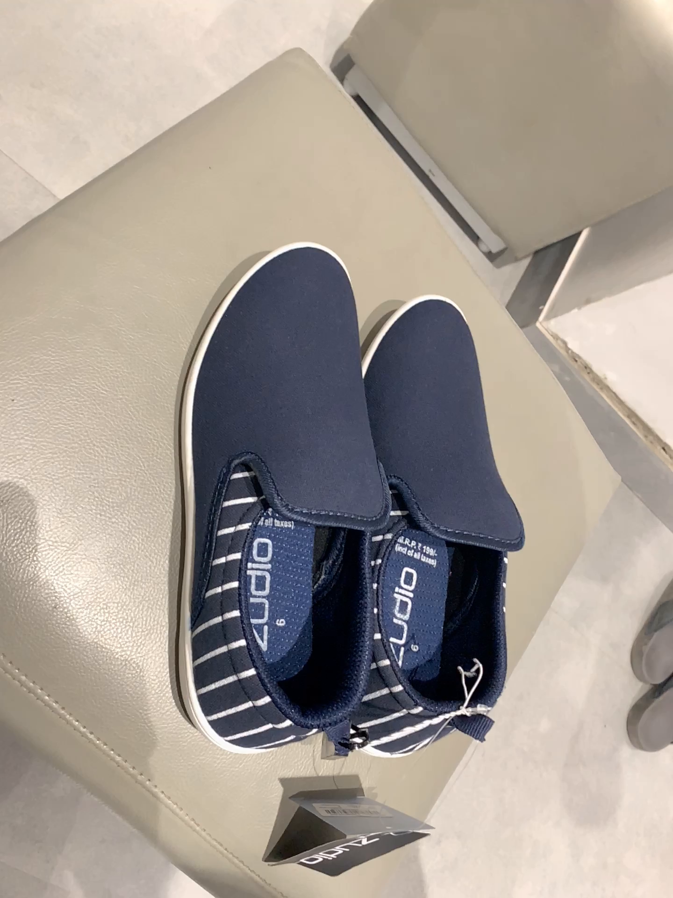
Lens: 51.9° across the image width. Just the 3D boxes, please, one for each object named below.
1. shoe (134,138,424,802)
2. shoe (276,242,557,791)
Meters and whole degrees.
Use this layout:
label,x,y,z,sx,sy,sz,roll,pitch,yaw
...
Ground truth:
label,x,y,z,sx,sy,sz,roll,pitch,yaw
shoe,-0.027,0.009,0.352,0.100,0.090,0.280,9,78,-30
shoe,0.049,0.038,0.398,0.100,0.090,0.270,14,76,-28
